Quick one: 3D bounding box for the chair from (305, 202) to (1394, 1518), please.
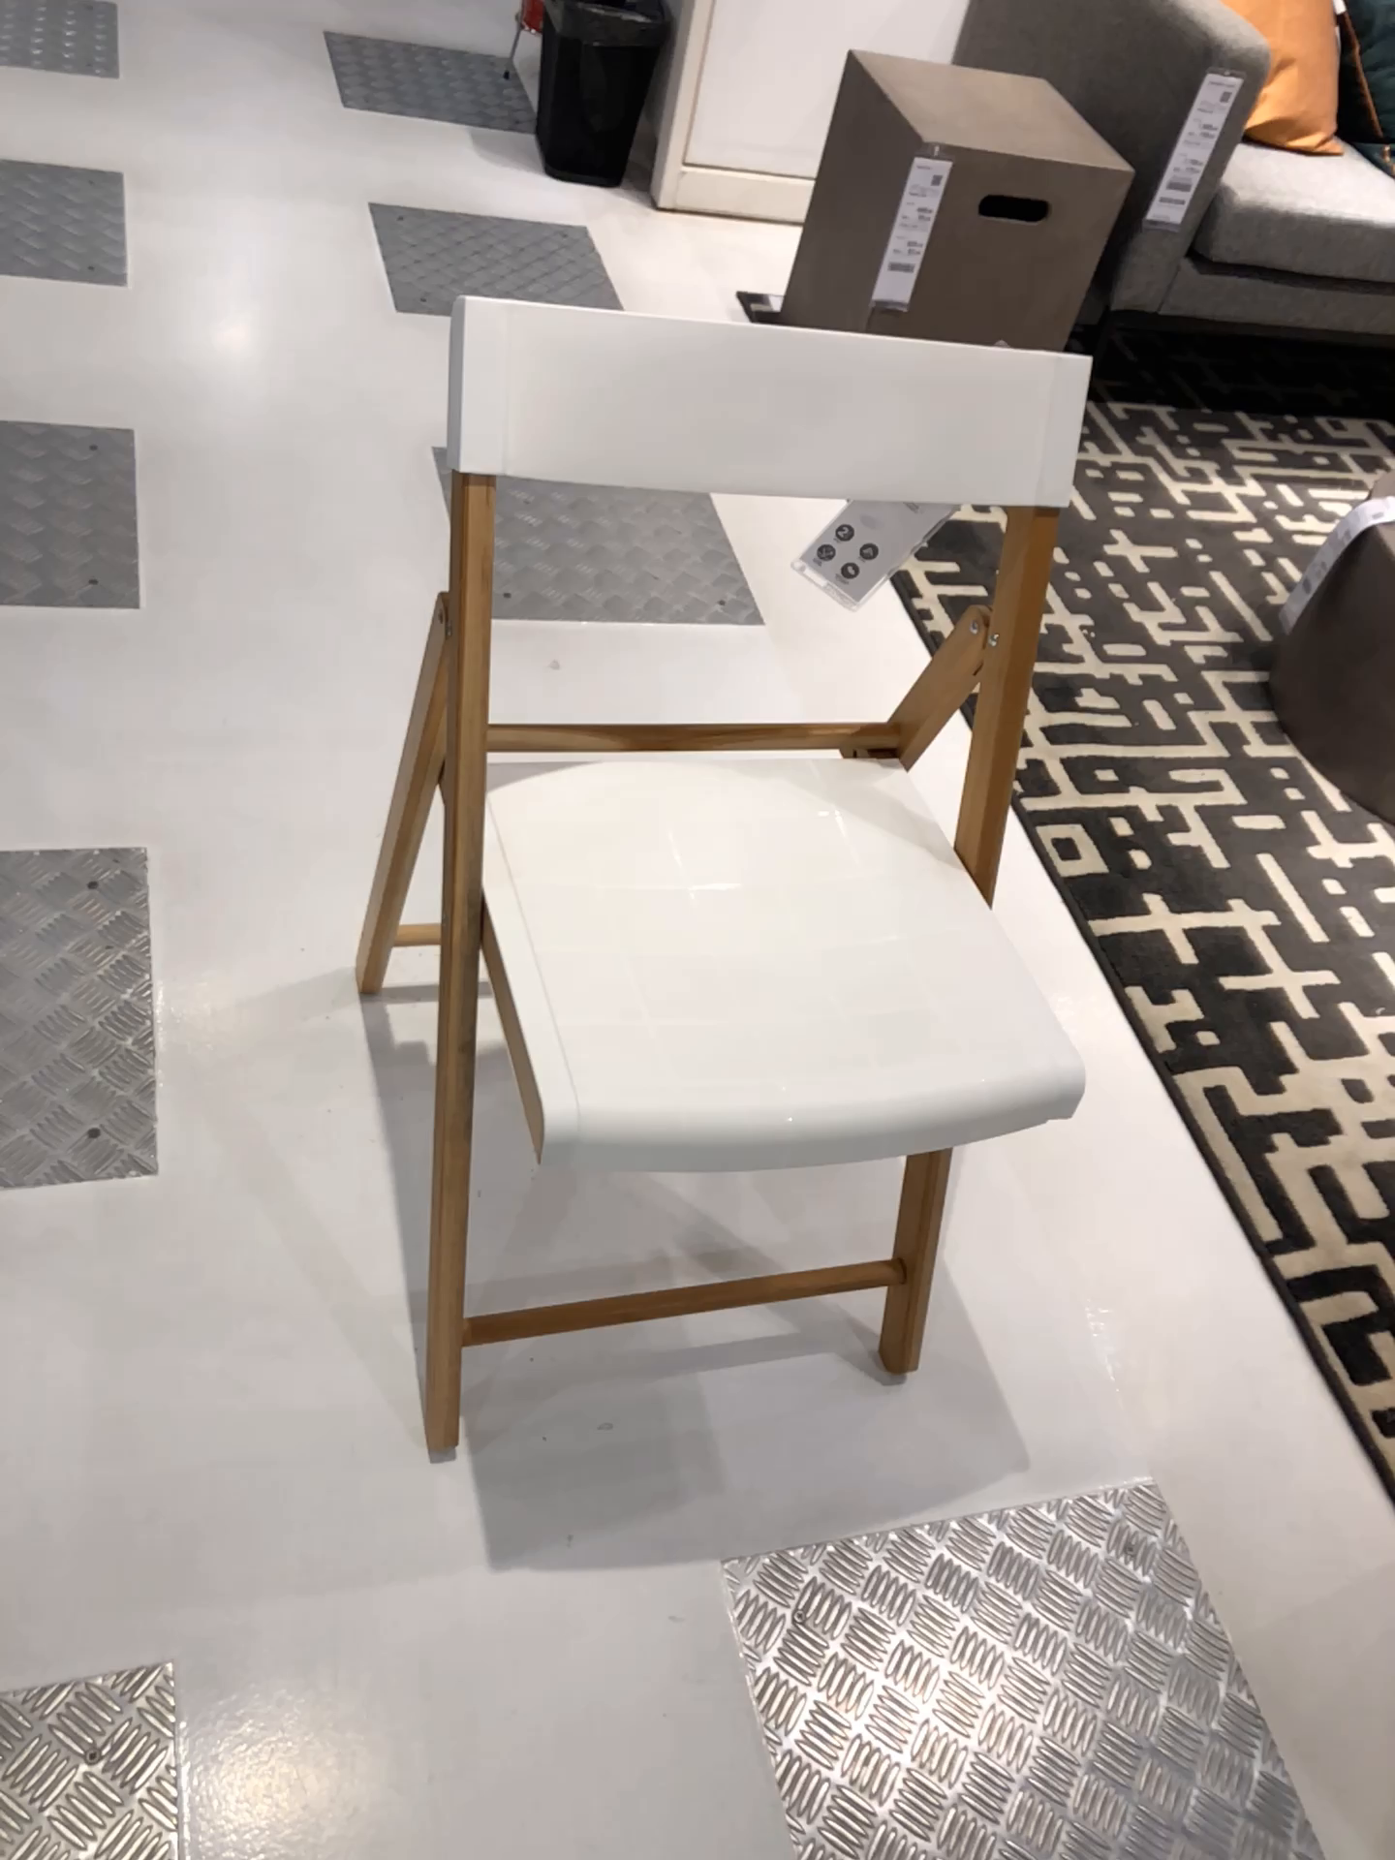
[{"bbox_3d":[-0.005,-0.030,1.118,0.471,0.705,0.553,-4,48,-20],"label":"chair"}]
